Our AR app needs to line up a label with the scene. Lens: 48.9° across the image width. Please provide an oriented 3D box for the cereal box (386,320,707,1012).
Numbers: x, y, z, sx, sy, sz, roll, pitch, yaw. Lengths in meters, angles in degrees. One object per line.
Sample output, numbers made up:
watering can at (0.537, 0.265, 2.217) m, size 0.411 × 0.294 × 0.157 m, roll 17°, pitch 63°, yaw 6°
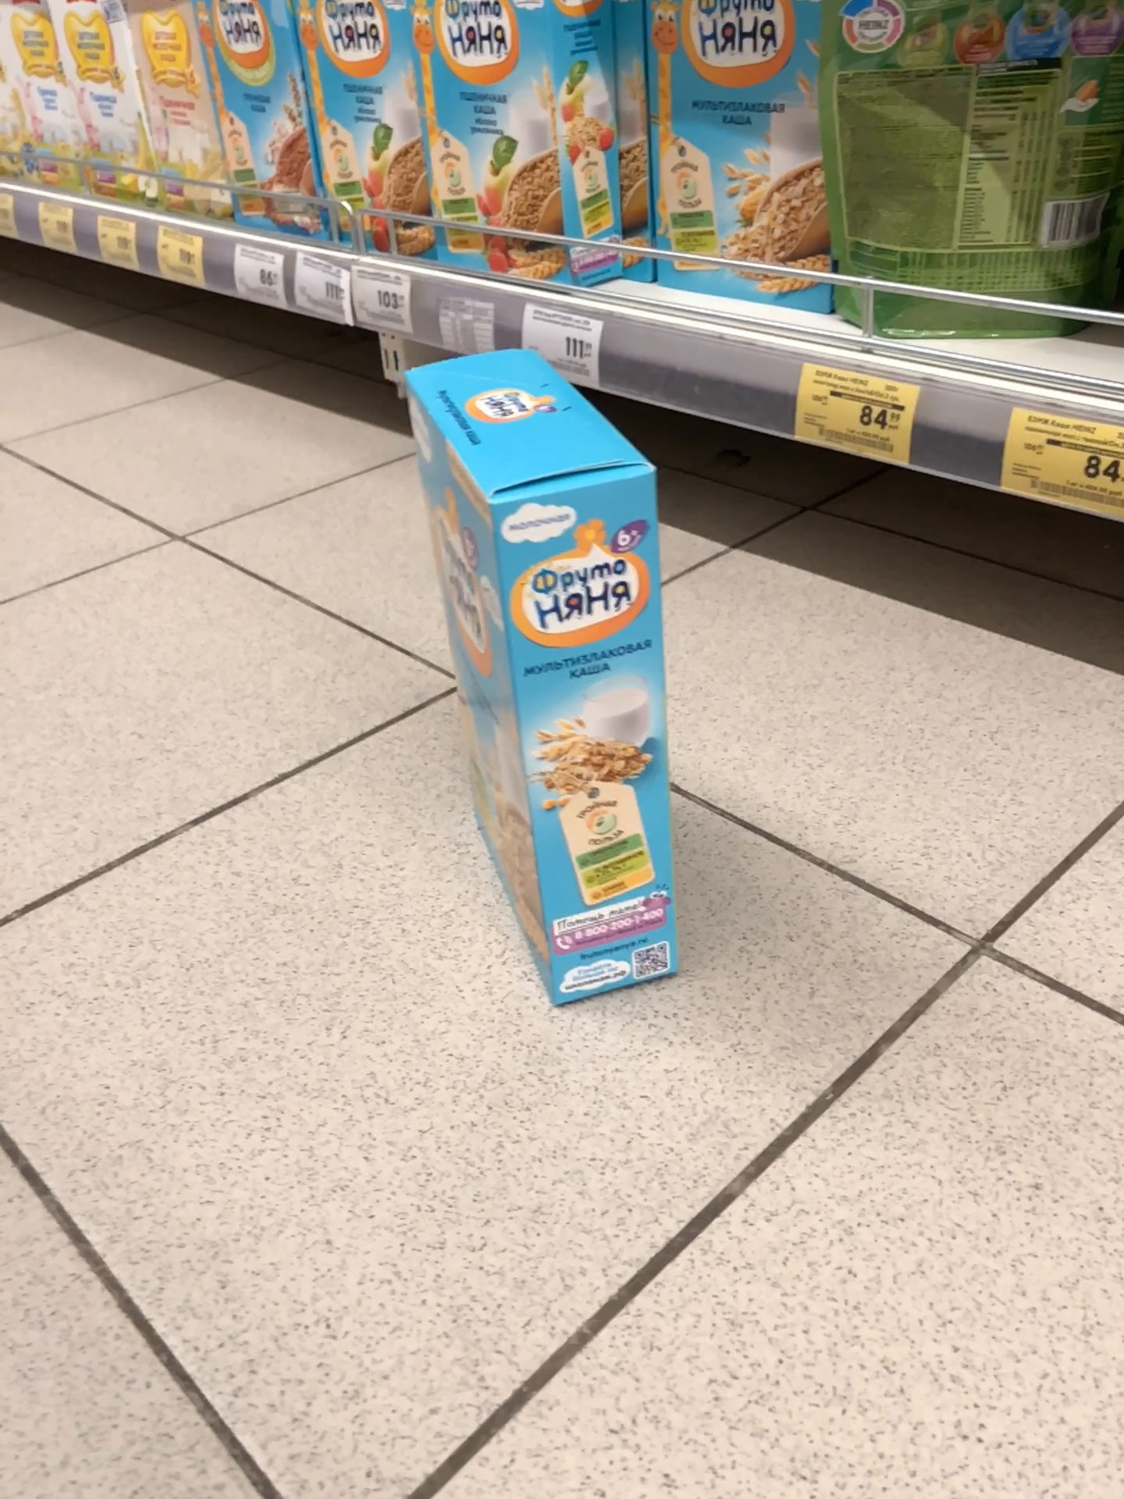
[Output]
cereal box at (-0.005, -0.032, 0.447) m, size 0.060 × 0.199 × 0.141 m, roll -14°, pitch 34°, yaw -11°
